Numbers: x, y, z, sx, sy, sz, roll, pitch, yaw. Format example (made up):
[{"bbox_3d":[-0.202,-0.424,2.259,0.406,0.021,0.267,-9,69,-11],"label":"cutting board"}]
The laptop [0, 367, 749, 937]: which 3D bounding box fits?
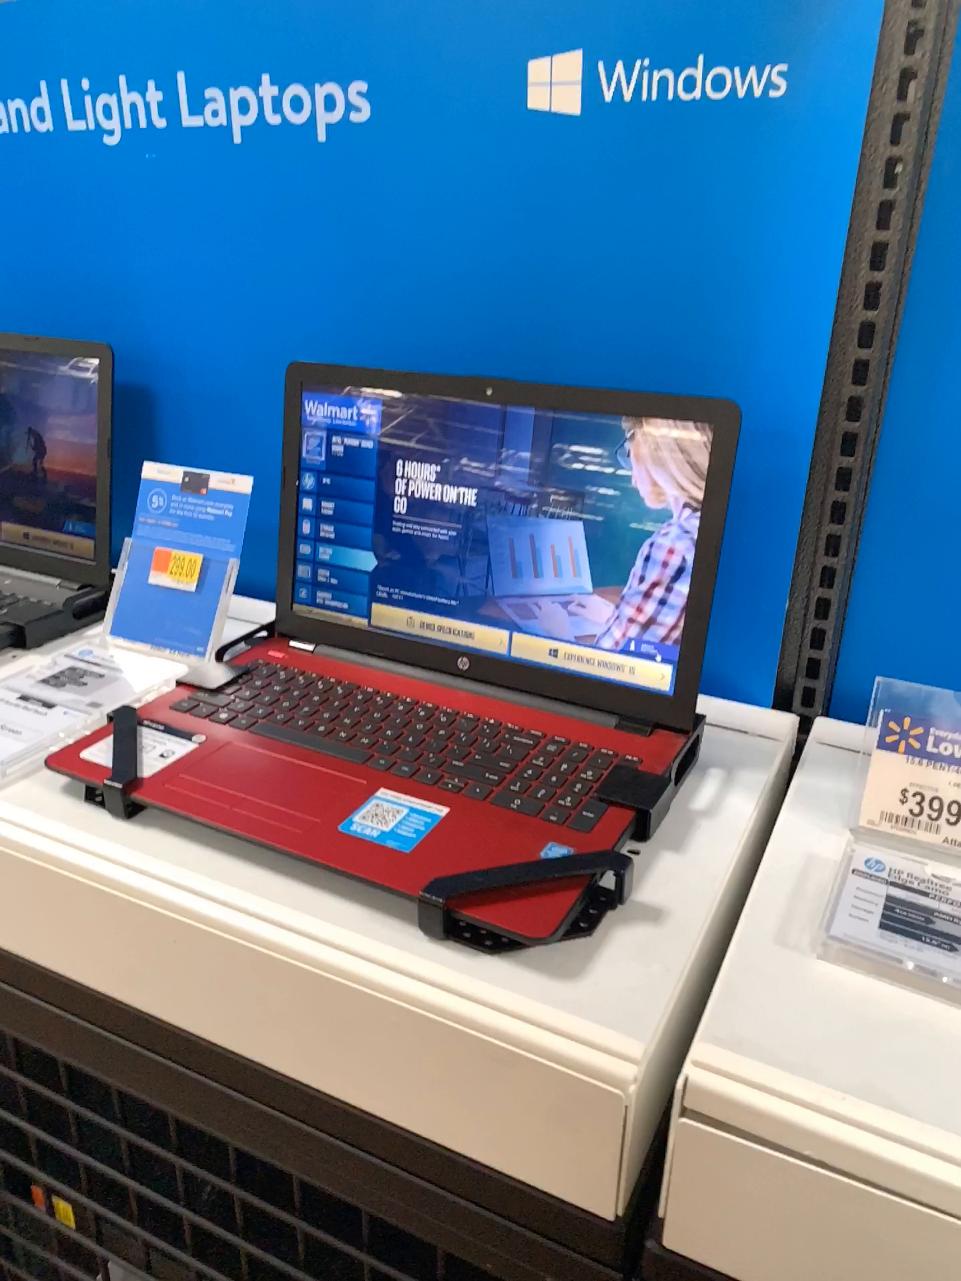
[{"bbox_3d":[-0.055,-0.036,0.648,0.364,0.223,0.280,12,26,26],"label":"laptop"}]
